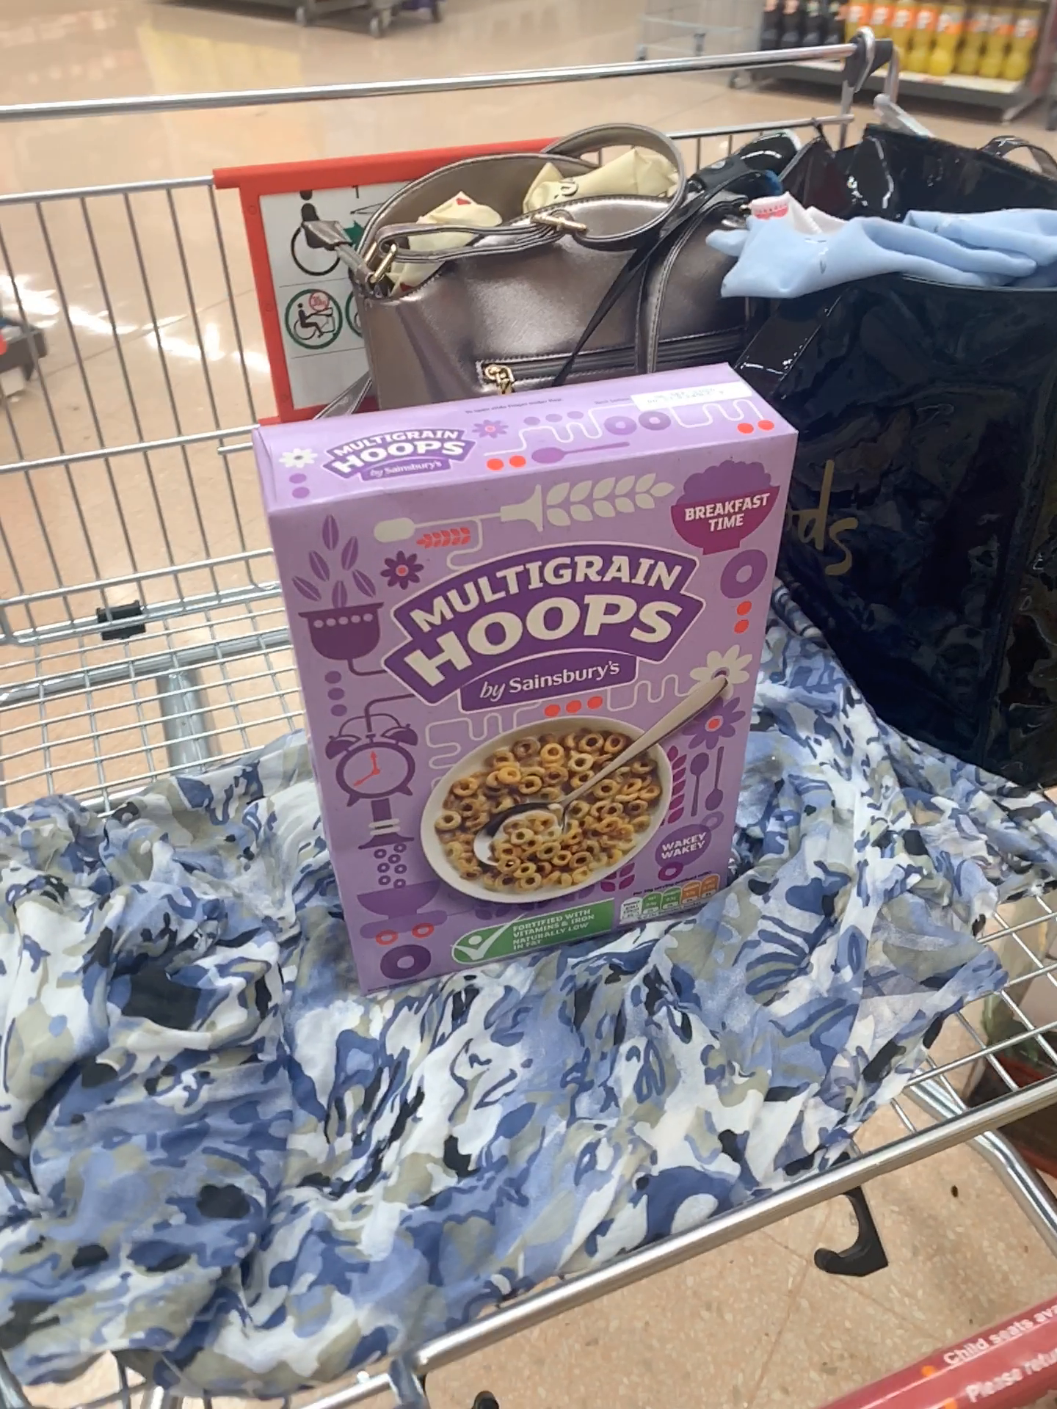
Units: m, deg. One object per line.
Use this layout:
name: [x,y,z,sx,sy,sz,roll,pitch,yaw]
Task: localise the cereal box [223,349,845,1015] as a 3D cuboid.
cereal box: [0.001,0.002,0.469,0.210,0.267,0.071,-11,41,-12]
